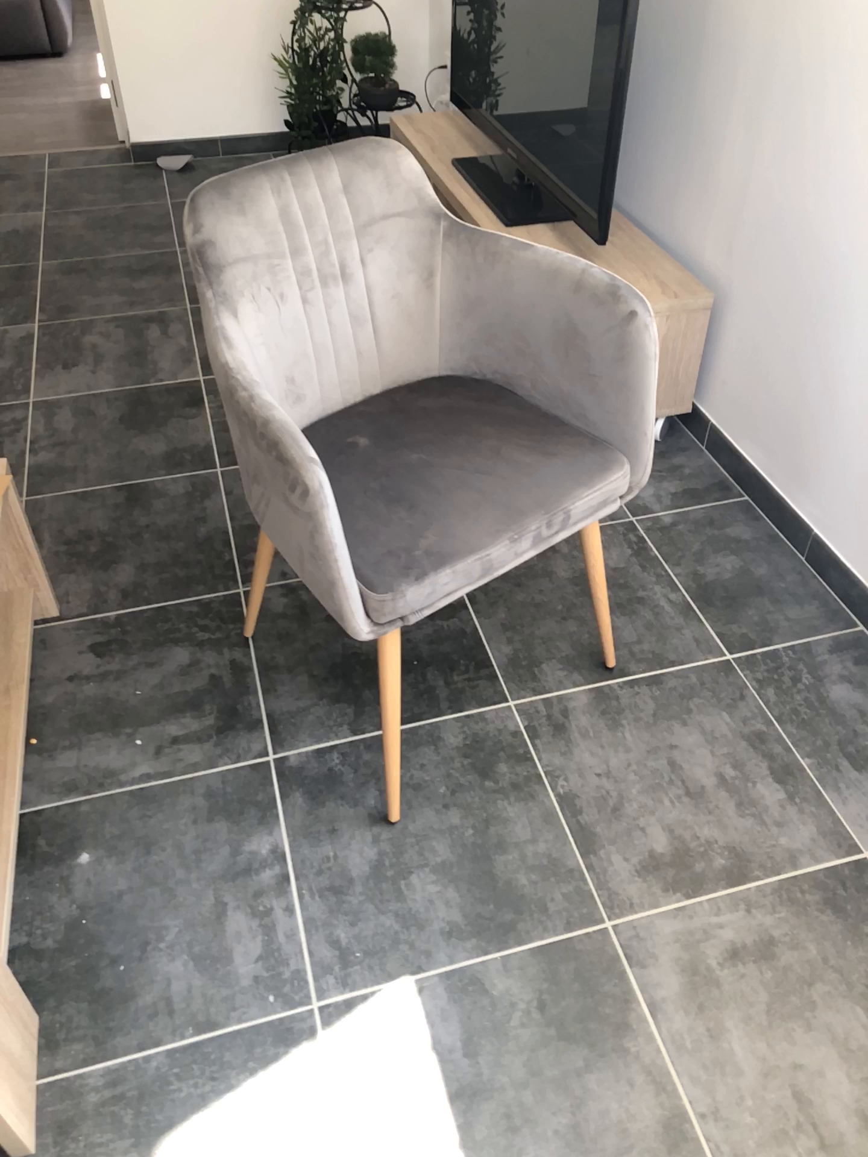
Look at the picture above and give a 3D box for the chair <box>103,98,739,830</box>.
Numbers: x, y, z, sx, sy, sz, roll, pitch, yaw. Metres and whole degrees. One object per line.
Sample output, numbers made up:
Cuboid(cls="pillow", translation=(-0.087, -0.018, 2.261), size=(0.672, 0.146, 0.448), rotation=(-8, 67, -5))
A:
Cuboid(cls="chair", translation=(-0.025, -0.196, 1.498), size=(0.593, 0.825, 0.581), rotation=(-28, 49, -28))
